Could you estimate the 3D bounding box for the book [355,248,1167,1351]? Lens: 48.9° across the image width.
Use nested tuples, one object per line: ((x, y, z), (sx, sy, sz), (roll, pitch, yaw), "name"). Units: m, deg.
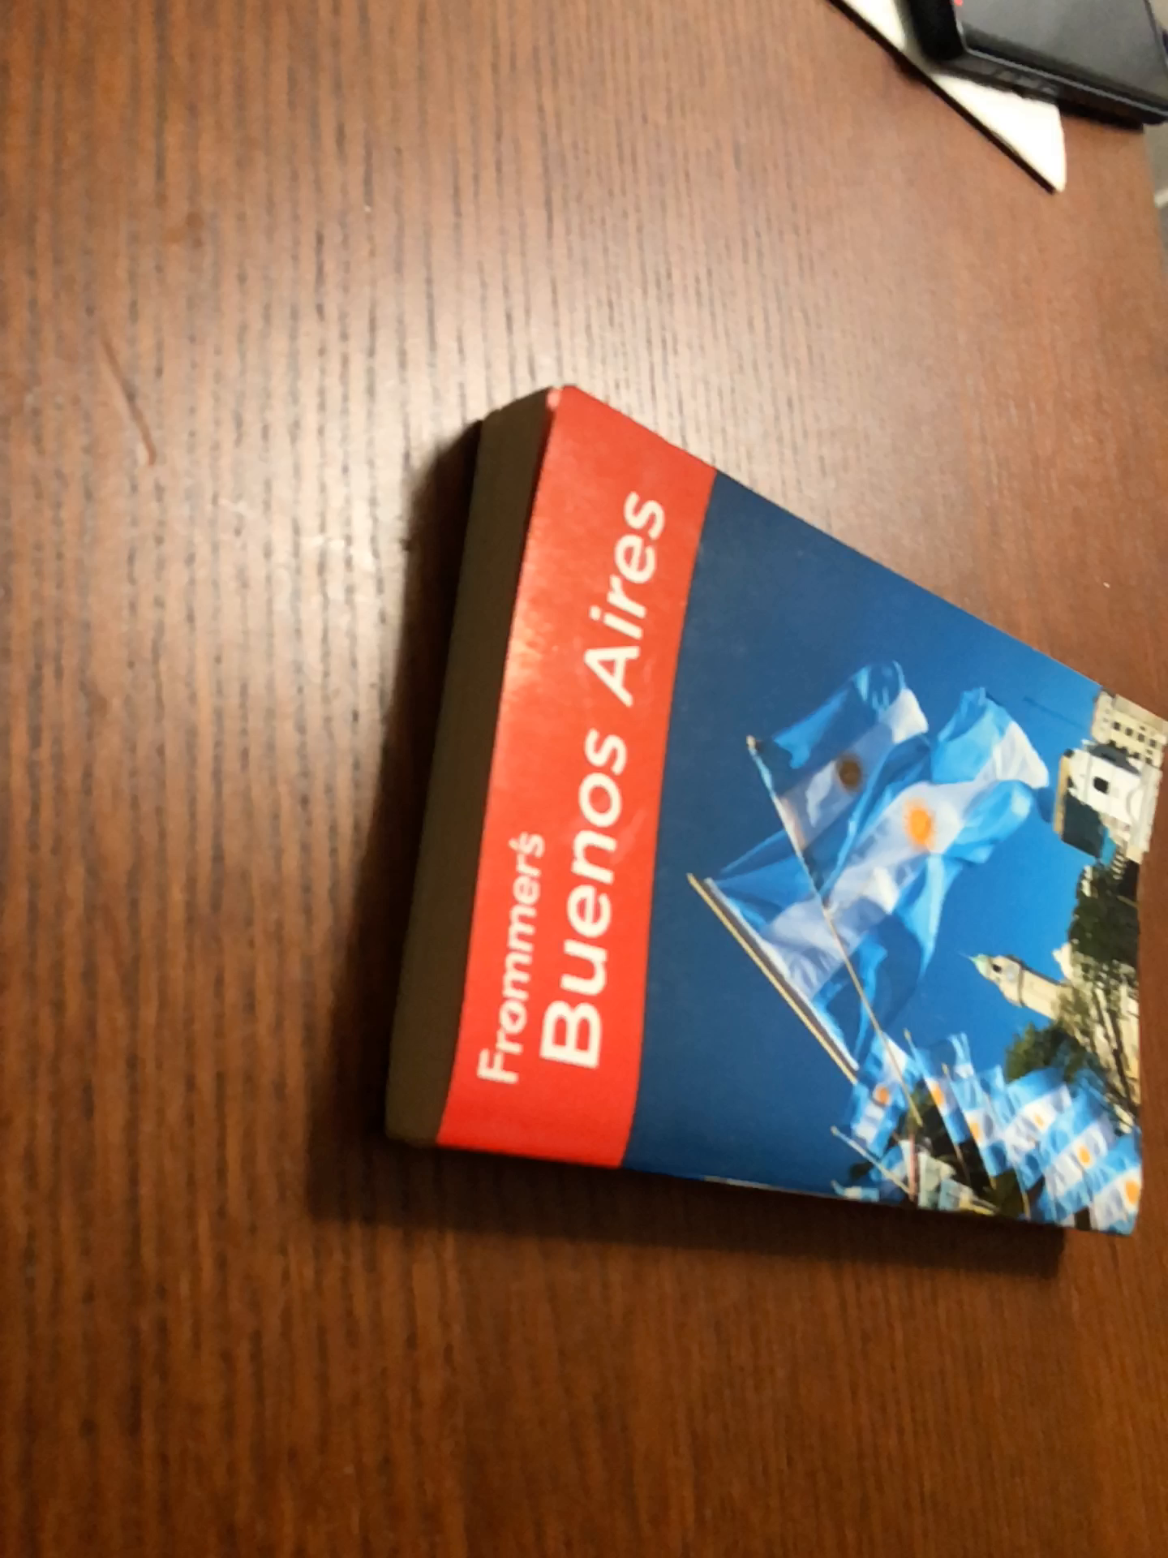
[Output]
((0.068, 0.022, 0.255), (0.221, 0.020, 0.160), (21, 67, -36), "book")
